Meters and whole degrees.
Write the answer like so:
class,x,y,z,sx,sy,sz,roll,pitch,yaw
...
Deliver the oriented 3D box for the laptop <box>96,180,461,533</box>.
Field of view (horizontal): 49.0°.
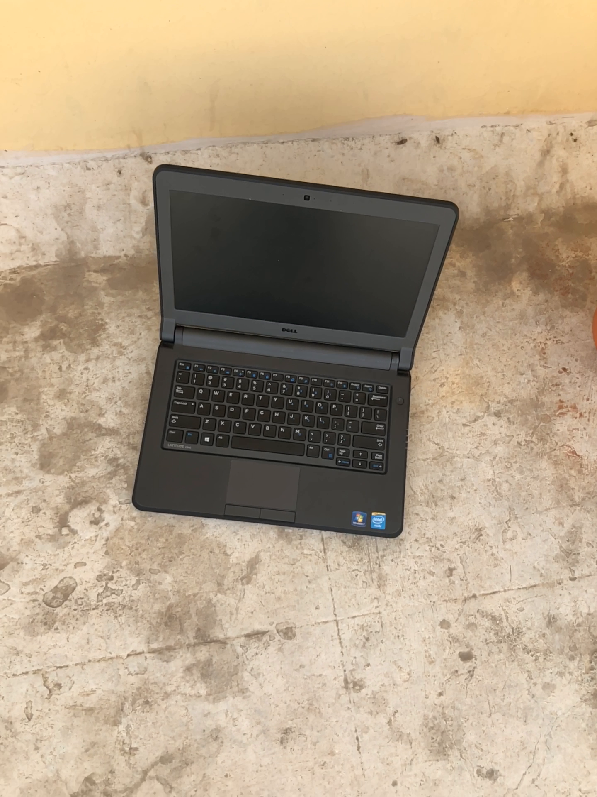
class,x,y,z,sx,sy,sz,roll,pitch,yaw
laptop,-0.011,-0.032,0.712,0.308,0.209,0.299,6,69,-1
